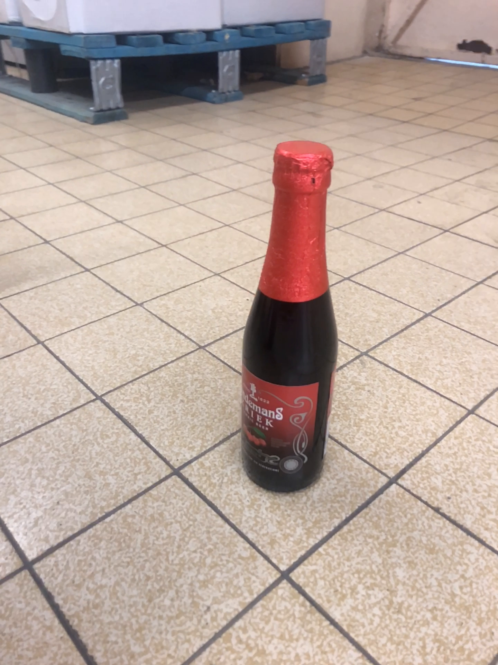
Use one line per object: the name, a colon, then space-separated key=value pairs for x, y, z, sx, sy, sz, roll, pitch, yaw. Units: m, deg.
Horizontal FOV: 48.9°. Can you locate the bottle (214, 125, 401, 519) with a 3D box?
bottle: x=0.025 y=0.000 z=0.299 sx=0.060 sy=0.199 sz=0.060 roll=1 pitch=32 yaw=0
